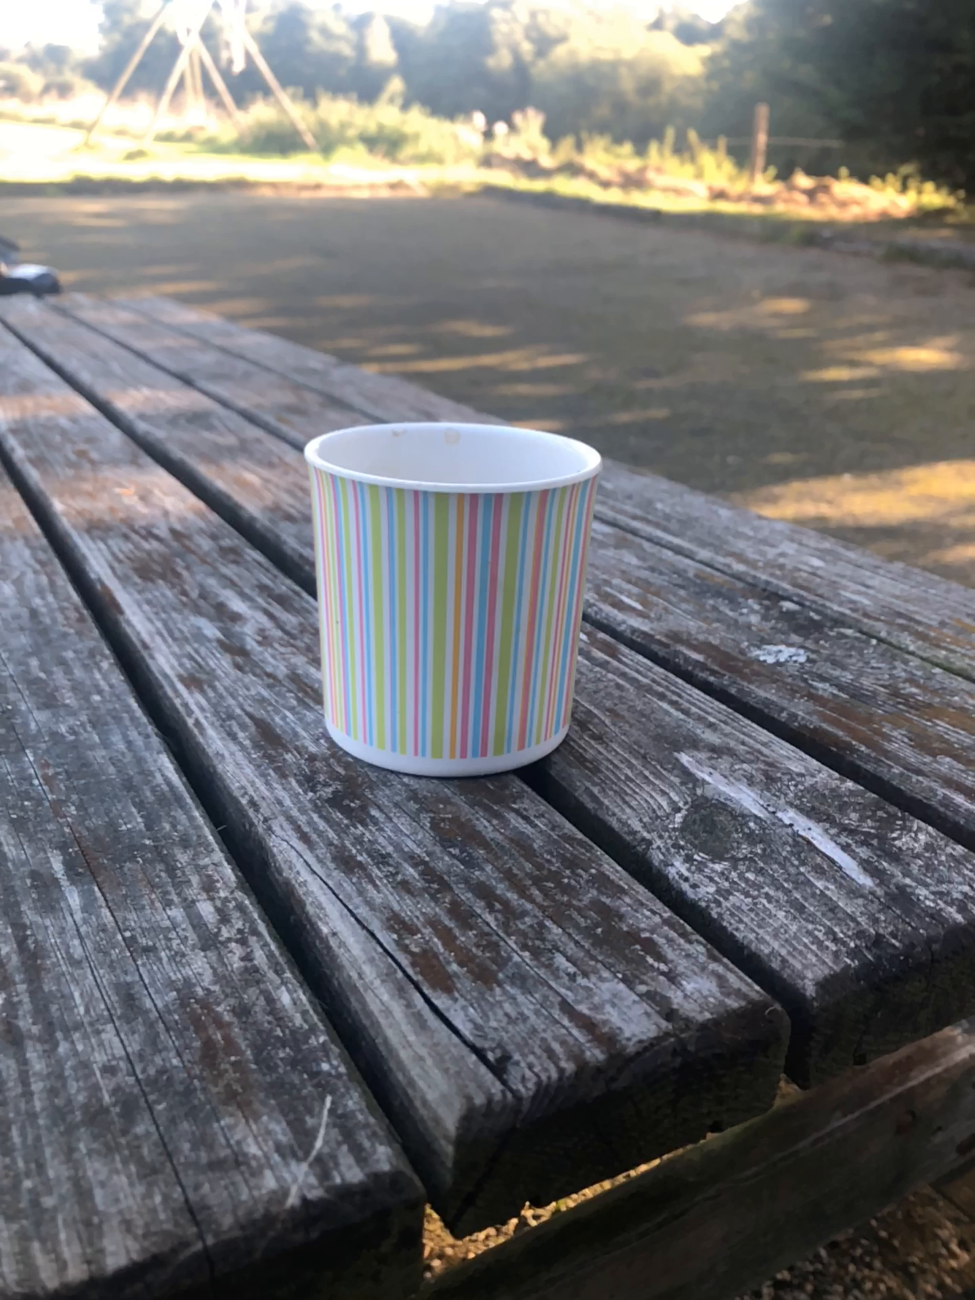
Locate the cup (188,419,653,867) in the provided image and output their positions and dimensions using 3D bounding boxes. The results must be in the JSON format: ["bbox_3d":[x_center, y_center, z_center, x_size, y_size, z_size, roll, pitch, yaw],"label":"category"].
[{"bbox_3d":[-0.018,-0.014,0.371,0.098,0.096,0.134,15,25,23],"label":"cup"}]
